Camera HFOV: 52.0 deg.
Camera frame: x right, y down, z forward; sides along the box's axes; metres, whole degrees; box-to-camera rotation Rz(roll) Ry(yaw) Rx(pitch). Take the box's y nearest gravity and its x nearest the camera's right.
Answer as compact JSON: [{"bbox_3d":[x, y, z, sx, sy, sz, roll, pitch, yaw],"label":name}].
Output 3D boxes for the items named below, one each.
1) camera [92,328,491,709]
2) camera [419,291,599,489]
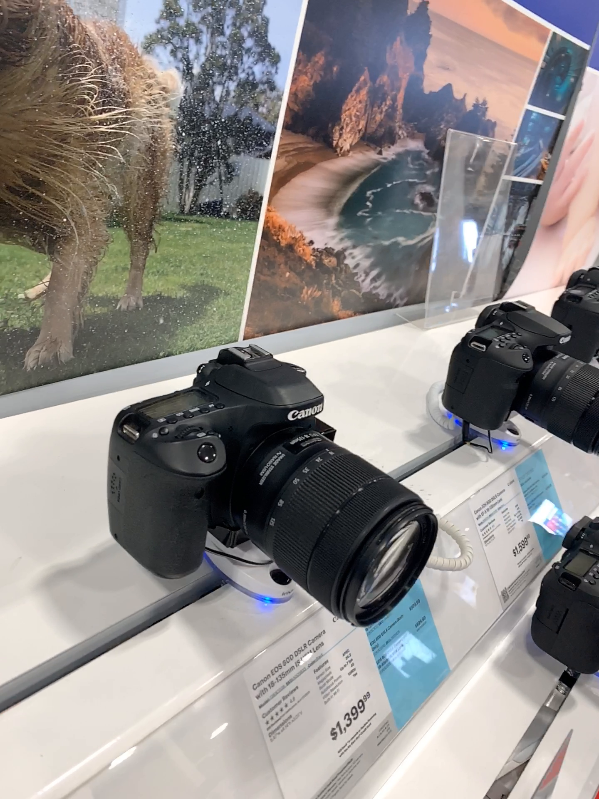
[{"bbox_3d":[-0.009,0.046,0.351,0.160,0.099,0.140,31,32,31],"label":"camera"},{"bbox_3d":[0.230,-0.021,0.584,0.160,0.099,0.140,31,32,31],"label":"camera"}]
